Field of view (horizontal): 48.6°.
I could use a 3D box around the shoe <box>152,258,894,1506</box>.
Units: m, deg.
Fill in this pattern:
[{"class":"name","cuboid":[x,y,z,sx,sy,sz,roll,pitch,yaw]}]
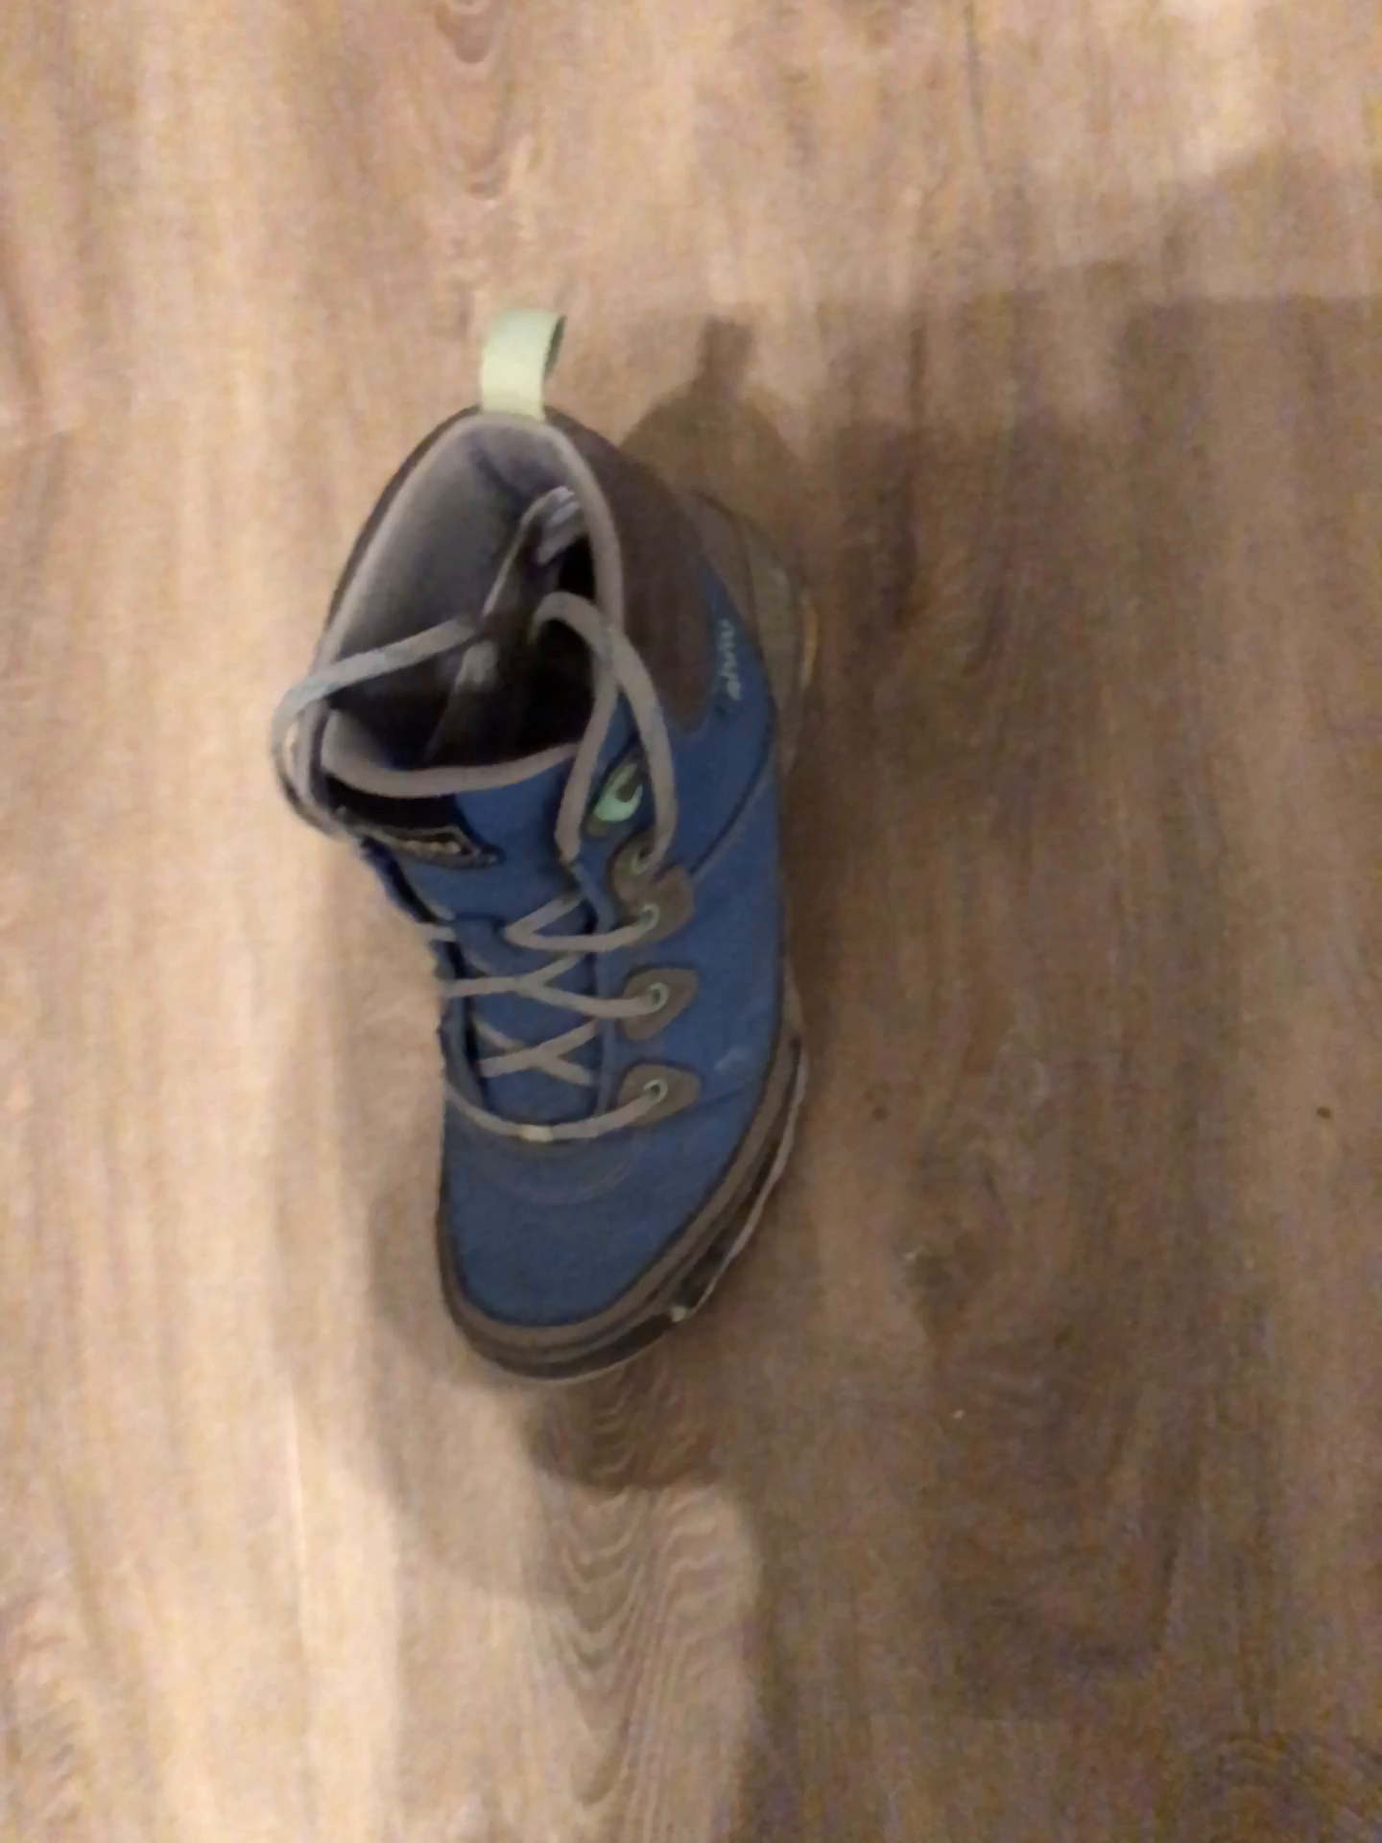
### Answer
[{"class":"shoe","cuboid":[-0.031,-0.011,0.387,0.100,0.140,0.250,8,90,20]}]
